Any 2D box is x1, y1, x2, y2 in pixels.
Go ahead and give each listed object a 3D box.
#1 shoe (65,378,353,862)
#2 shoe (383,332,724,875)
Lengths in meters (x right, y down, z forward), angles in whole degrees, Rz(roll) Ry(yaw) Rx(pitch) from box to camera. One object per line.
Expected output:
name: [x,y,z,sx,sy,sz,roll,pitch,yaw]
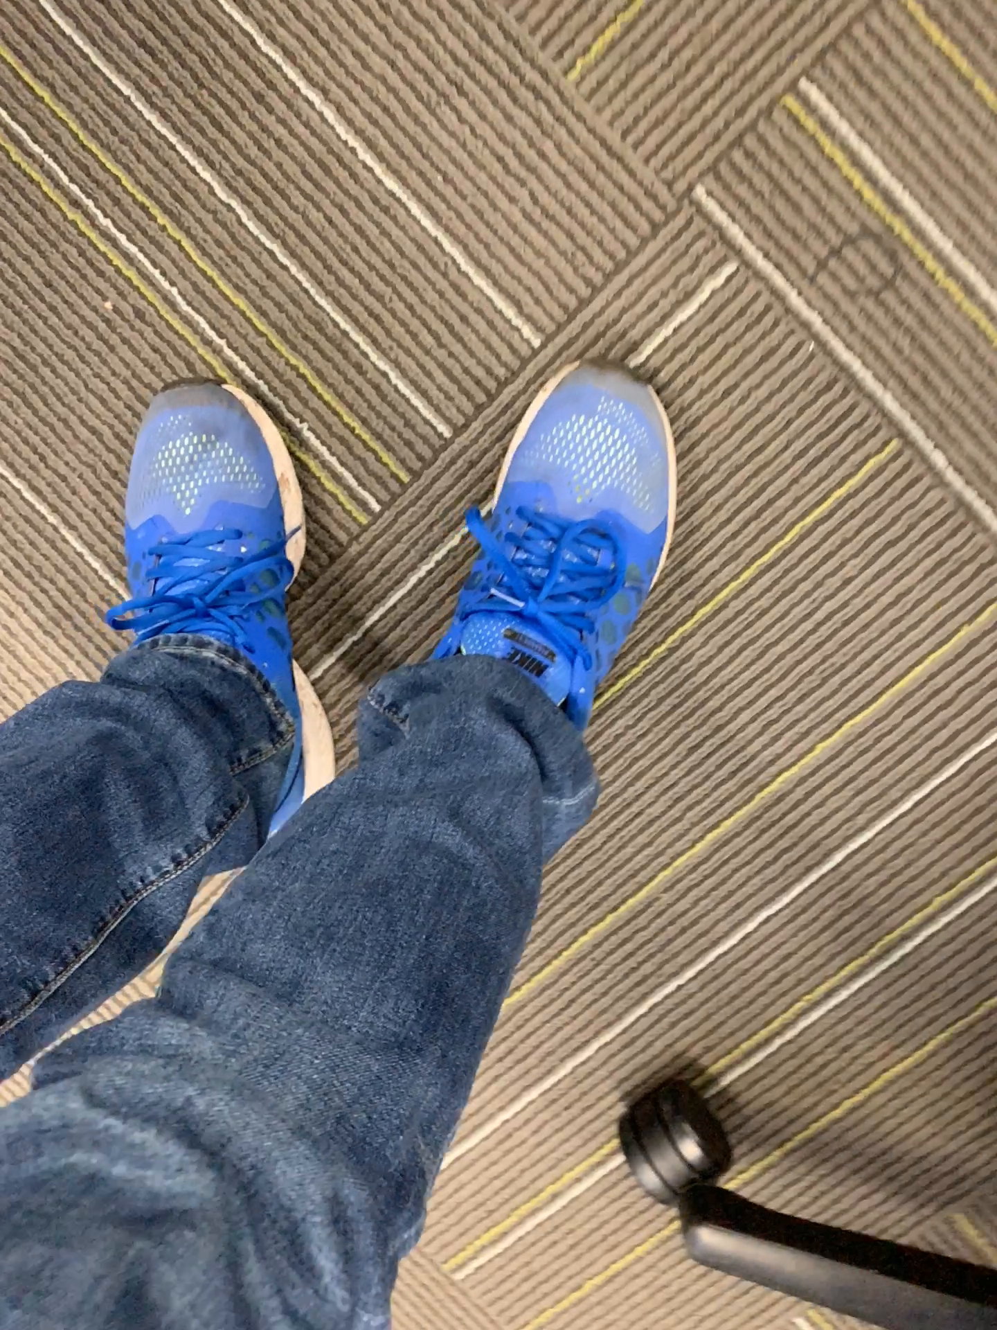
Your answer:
shoe: [-0.182,-0.027,0.674,0.125,0.077,0.298,-3,102,8]
shoe: [0.030,-0.036,0.640,0.128,0.077,0.300,15,104,4]
